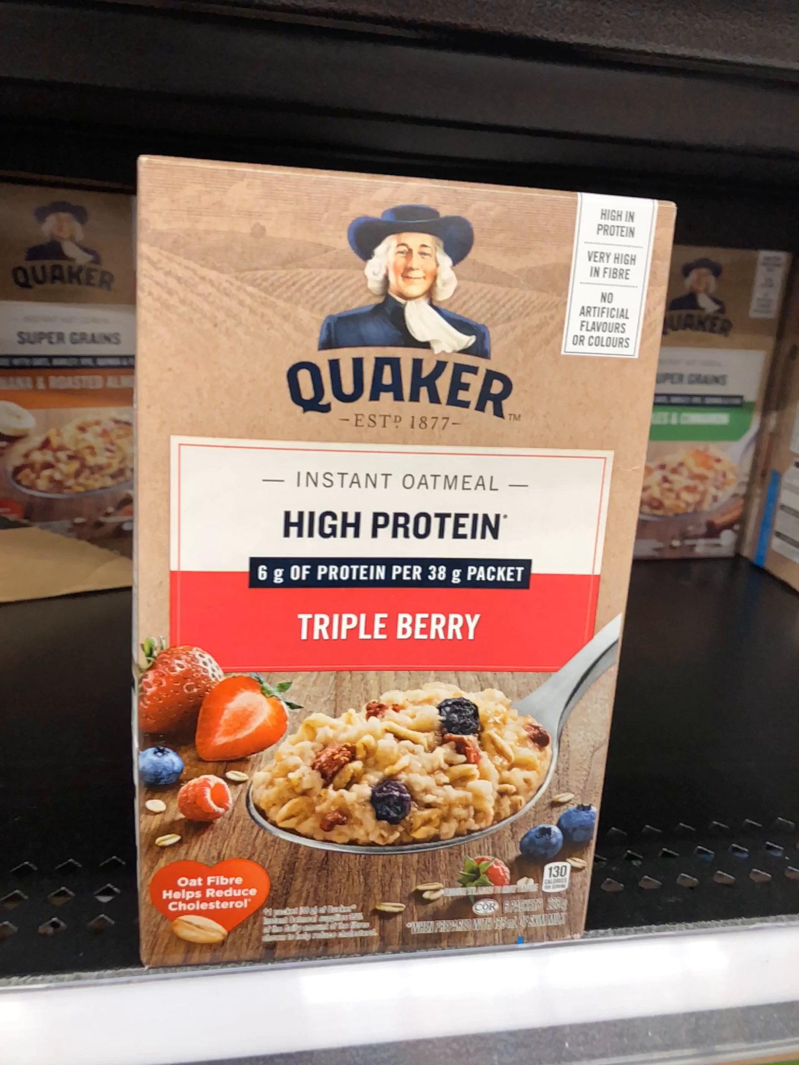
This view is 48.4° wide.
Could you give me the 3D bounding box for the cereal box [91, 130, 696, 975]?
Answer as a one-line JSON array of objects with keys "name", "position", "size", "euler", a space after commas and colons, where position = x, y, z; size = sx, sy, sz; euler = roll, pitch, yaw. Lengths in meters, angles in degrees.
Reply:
[{"name": "cereal box", "position": [-0.009, 0.007, 0.246], "size": [0.130, 0.199, 0.070], "euler": [1, 15, -10]}]
